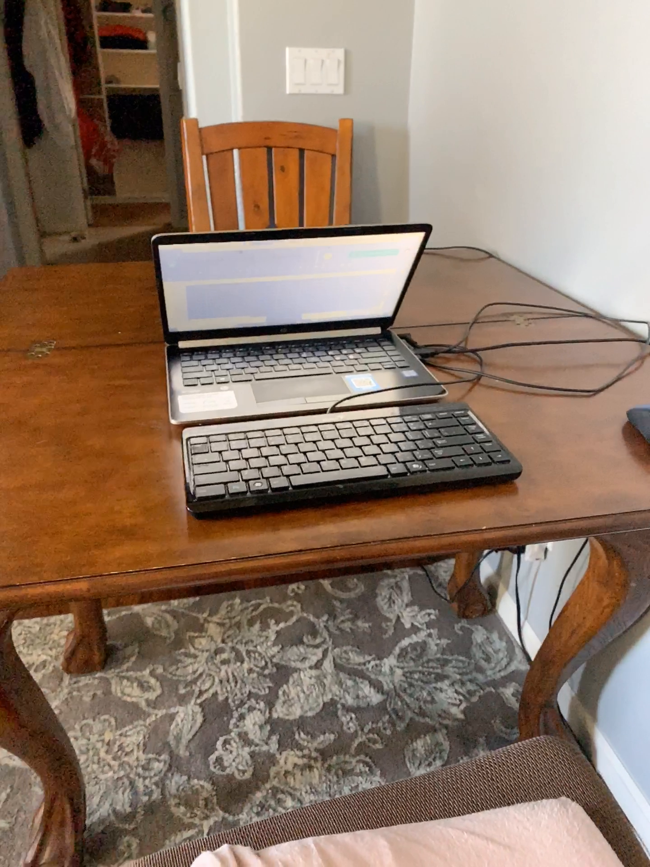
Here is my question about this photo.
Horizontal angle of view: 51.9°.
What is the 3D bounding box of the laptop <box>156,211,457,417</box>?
[{"bbox_3d":[-0.033,-0.151,0.777,0.302,0.157,0.200,-5,30,-11],"label":"laptop"}]
